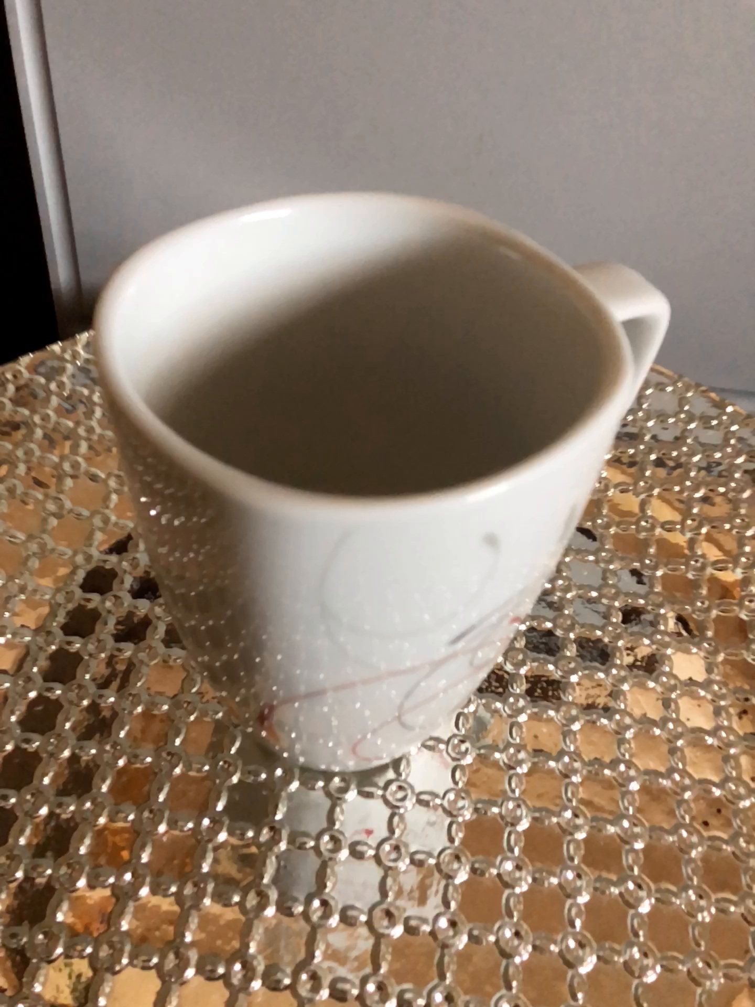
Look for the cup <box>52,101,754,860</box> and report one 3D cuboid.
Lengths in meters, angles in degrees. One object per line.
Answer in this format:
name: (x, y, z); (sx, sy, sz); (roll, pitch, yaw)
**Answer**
cup: (0.011, -0.010, 0.182); (0.110, 0.100, 0.080); (-31, 57, -30)
